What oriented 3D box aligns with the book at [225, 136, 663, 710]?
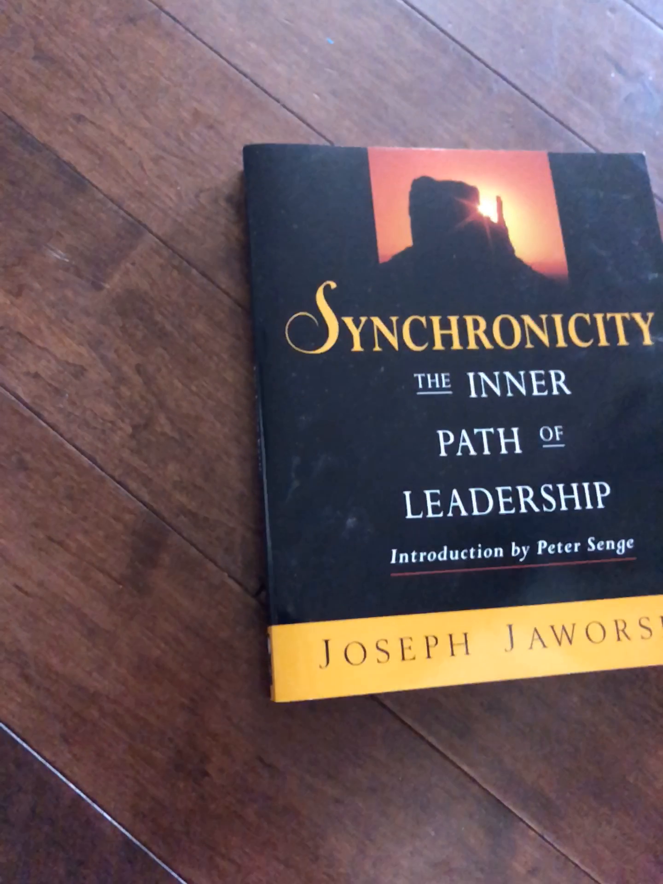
[{"bbox_3d":[0.057,-0.018,0.305,0.190,0.030,0.222,-3,76,-9],"label":"book"}]
